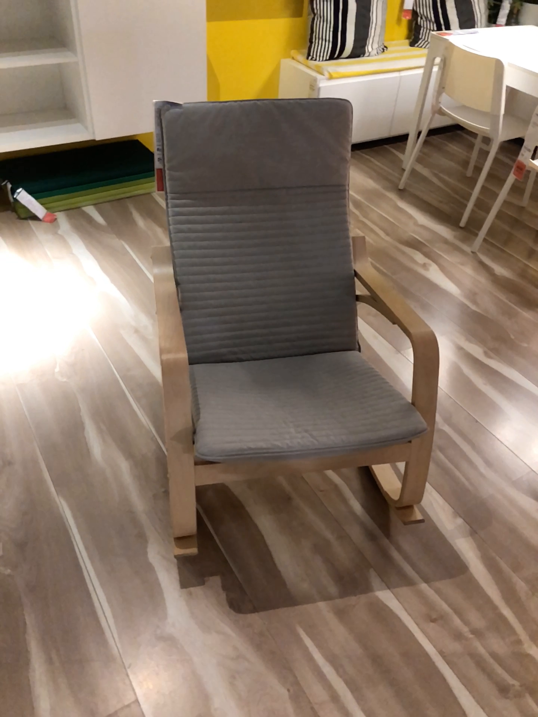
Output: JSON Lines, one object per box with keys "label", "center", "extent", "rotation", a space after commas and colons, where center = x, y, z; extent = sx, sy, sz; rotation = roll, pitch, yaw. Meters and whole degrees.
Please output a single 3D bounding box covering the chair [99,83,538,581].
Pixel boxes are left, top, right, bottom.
{"label": "chair", "center": [0.027, -0.077, 1.468], "extent": [0.750, 0.944, 0.704], "rotation": [-5, 42, -11]}
